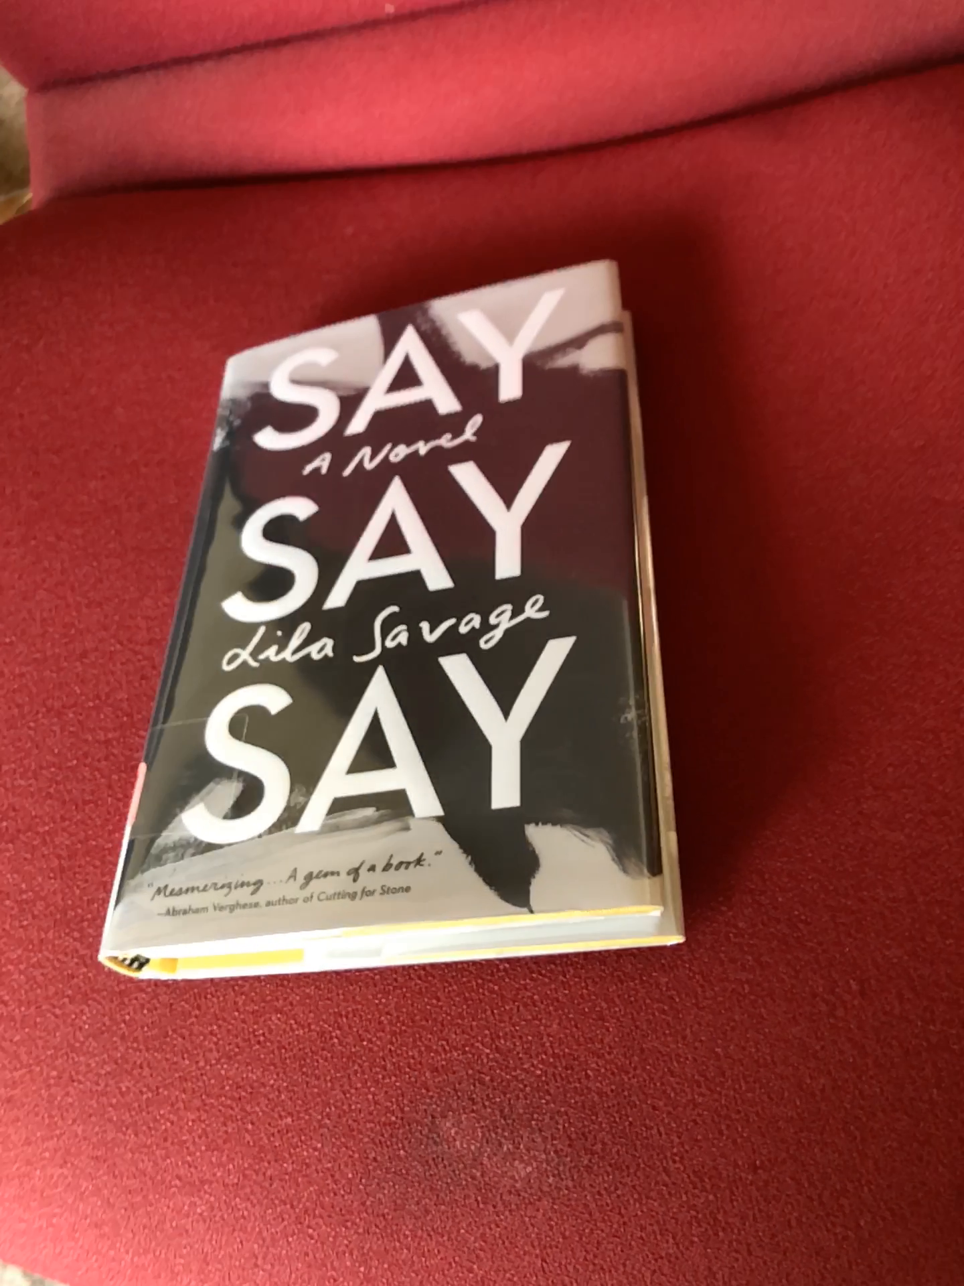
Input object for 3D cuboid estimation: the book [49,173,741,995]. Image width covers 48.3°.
[{"bbox_3d":[-0.021,-0.022,0.291,0.150,0.040,0.210,-9,60,14],"label":"book"}]
